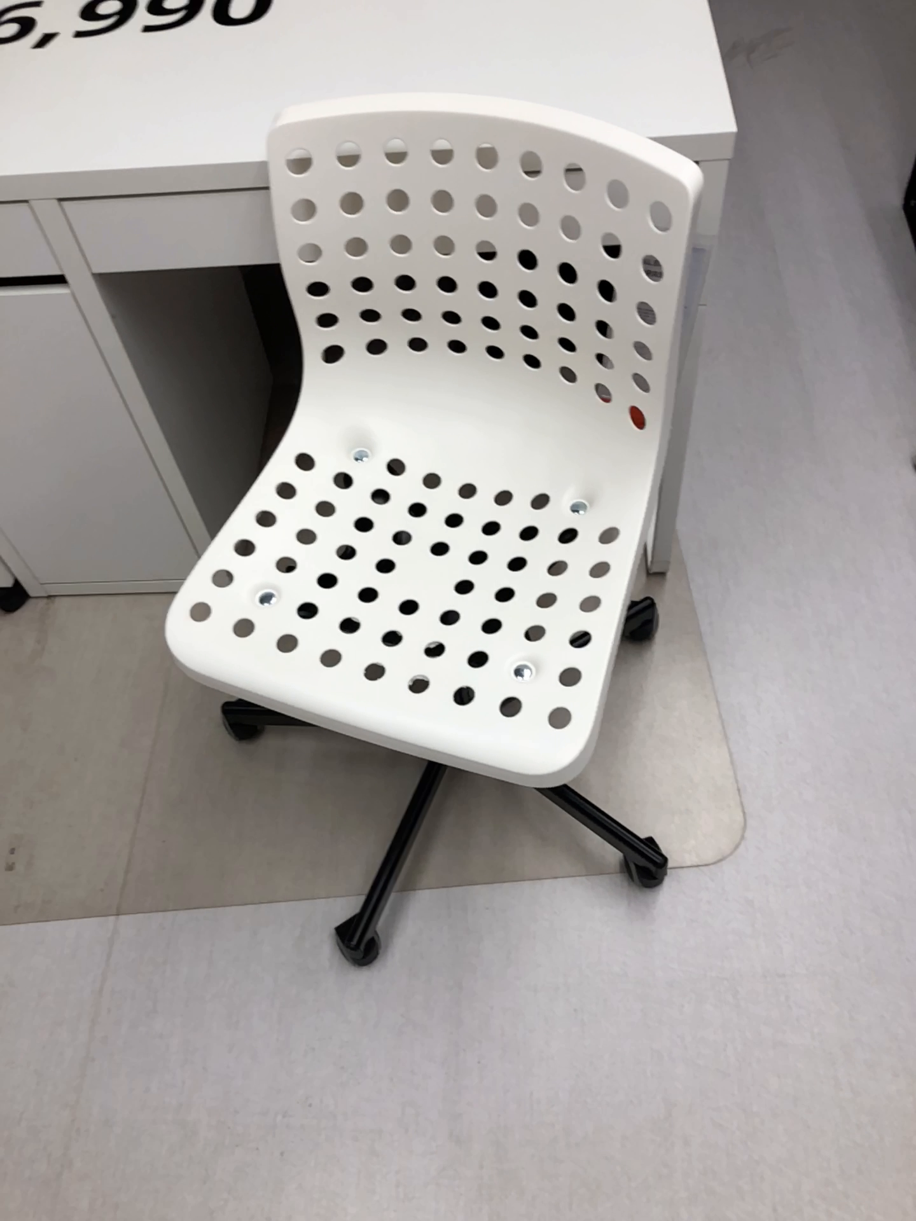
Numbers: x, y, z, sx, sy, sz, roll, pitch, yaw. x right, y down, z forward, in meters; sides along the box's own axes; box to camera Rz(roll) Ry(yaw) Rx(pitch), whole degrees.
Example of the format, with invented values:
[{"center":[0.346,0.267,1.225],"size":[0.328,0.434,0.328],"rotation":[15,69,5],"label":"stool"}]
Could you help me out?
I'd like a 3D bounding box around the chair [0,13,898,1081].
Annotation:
[{"center":[-0.042,-0.046,1.053],"size":[0.671,0.746,0.653],"rotation":[16,57,16],"label":"chair"}]
